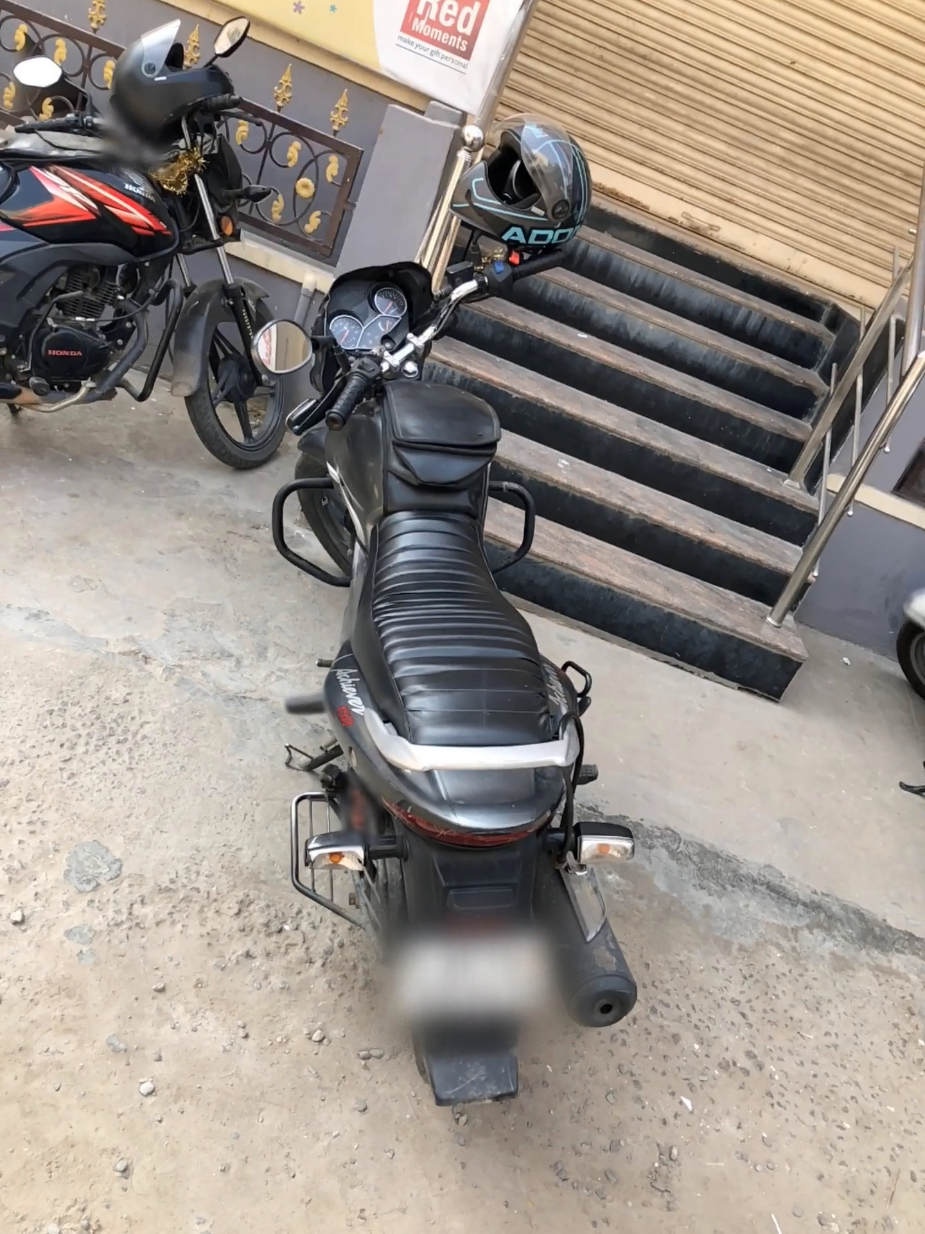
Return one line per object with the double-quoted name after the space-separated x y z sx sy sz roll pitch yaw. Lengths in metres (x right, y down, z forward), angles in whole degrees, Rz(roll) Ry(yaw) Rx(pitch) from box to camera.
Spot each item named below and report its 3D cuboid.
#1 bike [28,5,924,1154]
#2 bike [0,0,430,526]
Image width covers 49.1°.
-0.262 -0.234 1.902 0.747 1.156 1.742 11 31 -25 "bike"
-1.028 -0.904 2.676 0.684 1.057 1.606 38 28 28 "bike"
